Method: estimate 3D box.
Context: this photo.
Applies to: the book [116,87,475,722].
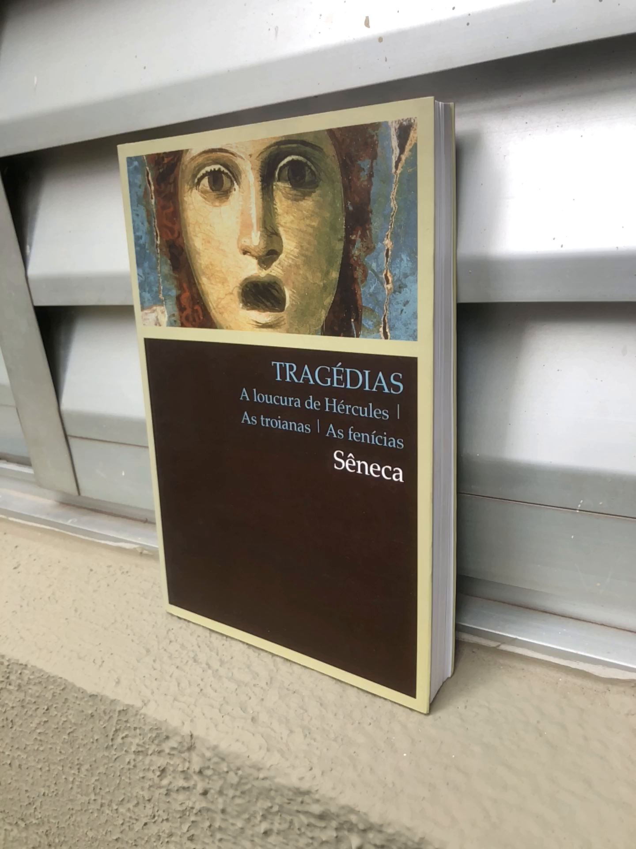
[{"bbox_3d":[-0.013,-0.008,0.270,0.145,0.197,0.026,8,16,38],"label":"book"}]
